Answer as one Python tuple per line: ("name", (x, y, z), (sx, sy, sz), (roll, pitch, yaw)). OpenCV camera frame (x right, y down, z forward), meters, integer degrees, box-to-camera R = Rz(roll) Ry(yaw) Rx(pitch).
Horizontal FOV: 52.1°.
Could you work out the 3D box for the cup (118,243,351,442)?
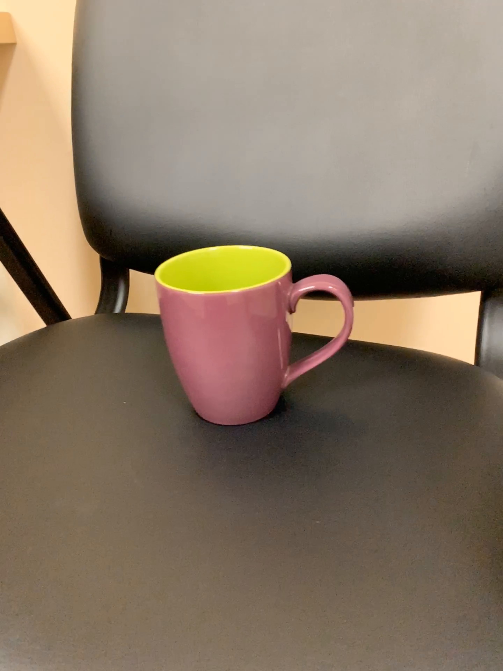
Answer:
("cup", (-0.002, 0.001, 0.375), (0.143, 0.109, 0.090), (1, 29, 11))
